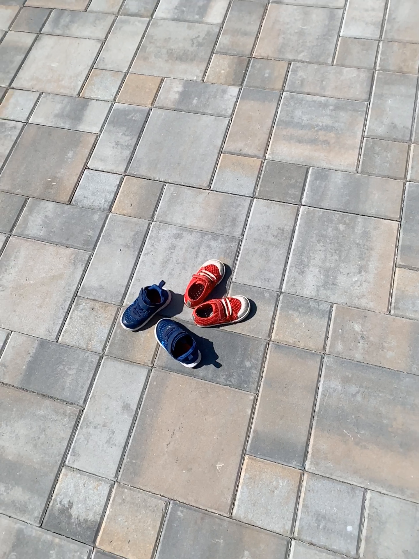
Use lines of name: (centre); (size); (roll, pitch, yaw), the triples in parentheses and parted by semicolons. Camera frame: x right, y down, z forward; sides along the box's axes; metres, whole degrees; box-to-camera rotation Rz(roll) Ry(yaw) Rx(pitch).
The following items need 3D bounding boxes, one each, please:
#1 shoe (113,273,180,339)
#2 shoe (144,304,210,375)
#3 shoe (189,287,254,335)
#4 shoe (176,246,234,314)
shoe: (-0.172, 0.072, 1.185); (0.160, 0.070, 0.080); (-41, 69, -11)
shoe: (-0.085, 0.158, 1.125); (0.080, 0.080, 0.160); (-40, 69, -11)
shoe: (0.035, 0.088, 1.169); (0.160, 0.070, 0.080); (-13, 67, 0)
shoe: (-0.010, 0.001, 1.195); (0.080, 0.070, 0.160); (31, 74, 17)
